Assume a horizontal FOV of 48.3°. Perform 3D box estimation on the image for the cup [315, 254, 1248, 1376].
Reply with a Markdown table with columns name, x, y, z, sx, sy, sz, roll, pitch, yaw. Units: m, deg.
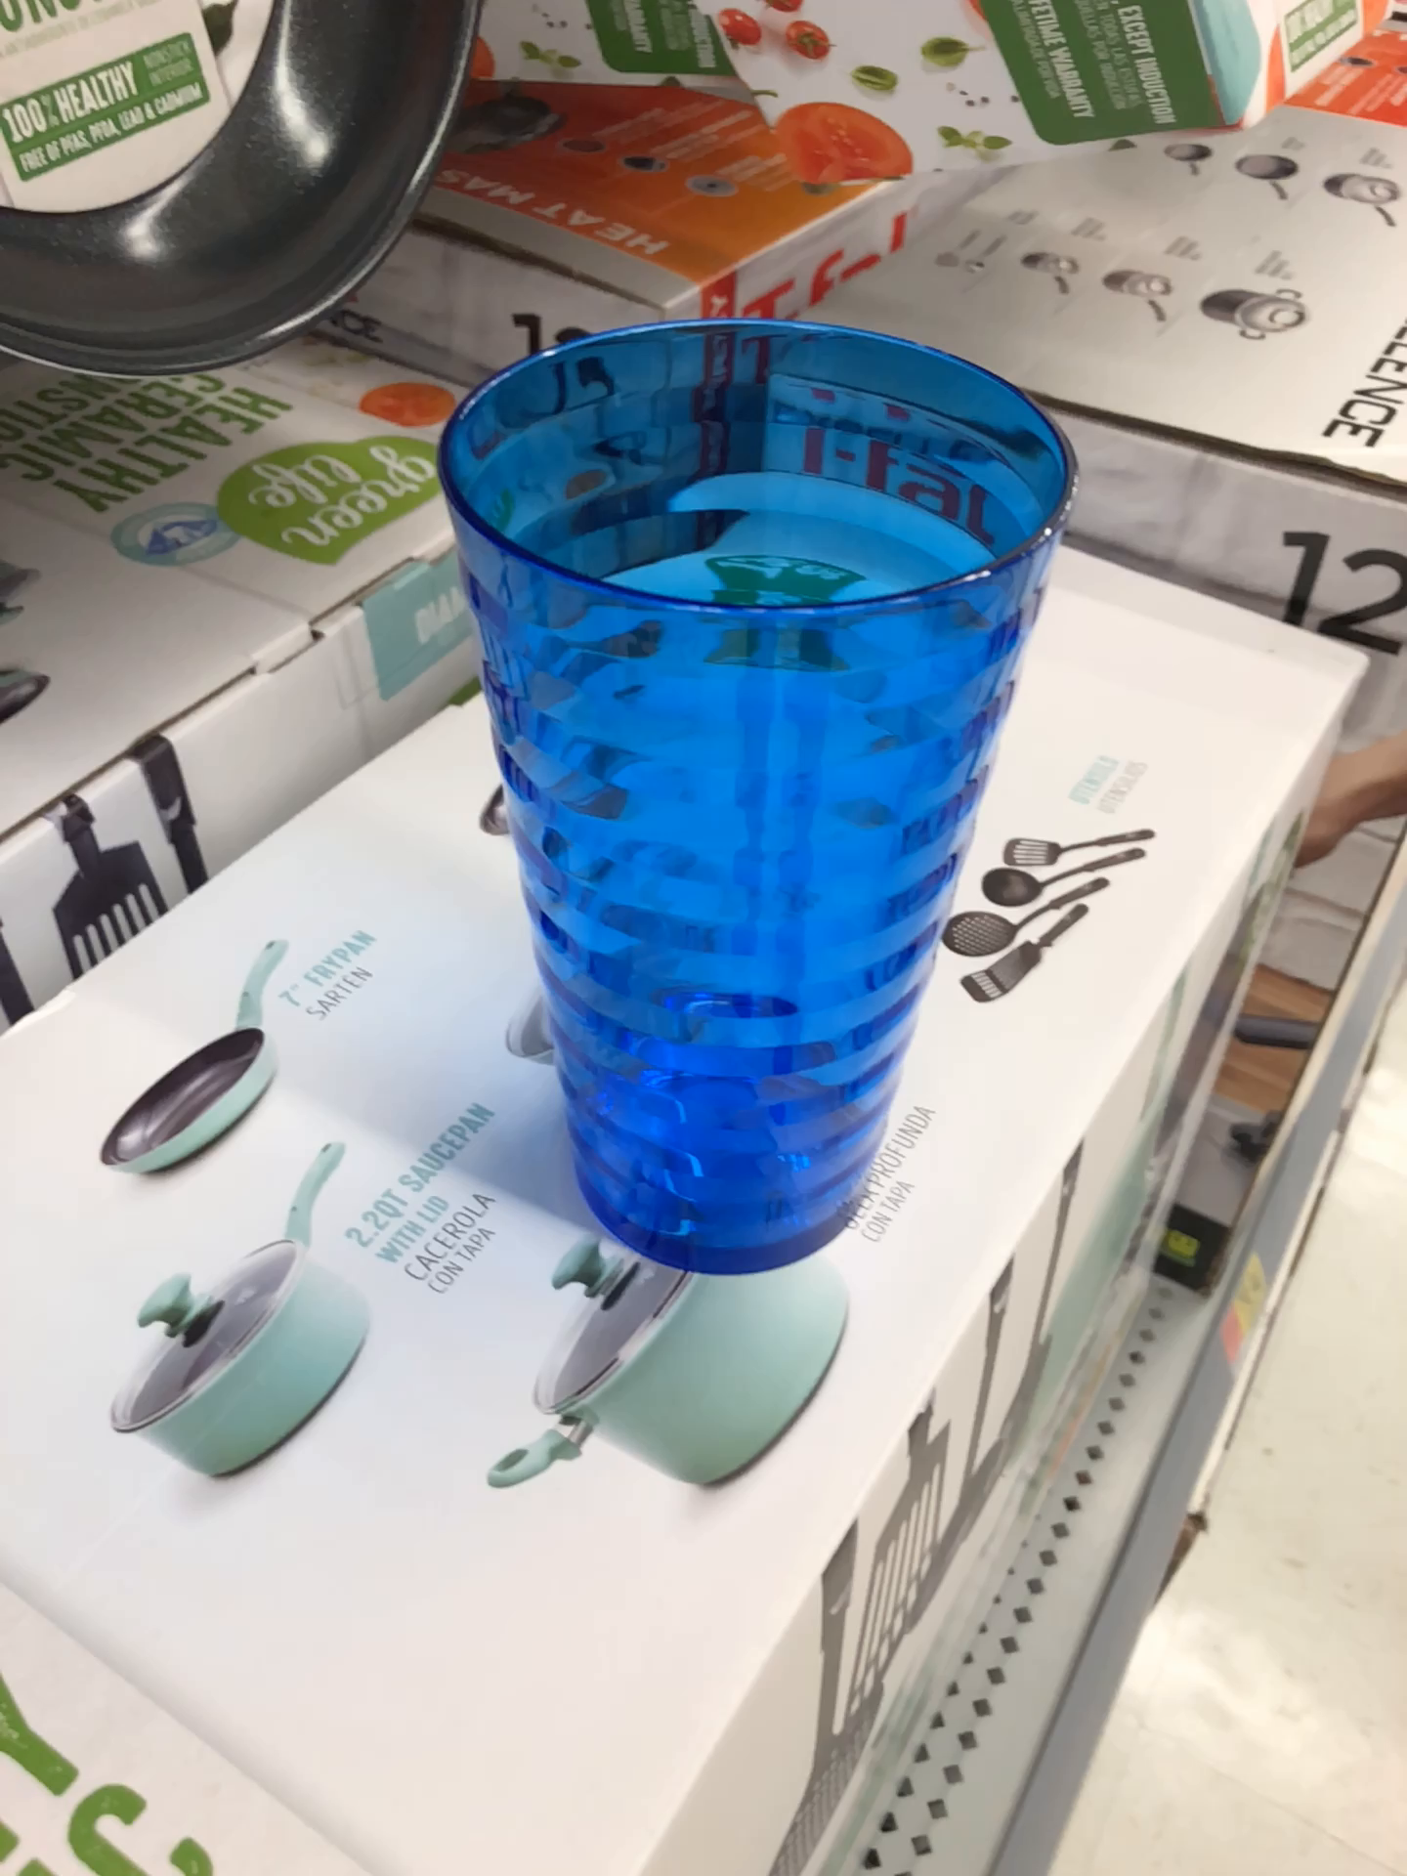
| name | x | y | z | sx | sy | sz | roll | pitch | yaw |
| --- | --- | --- | --- | --- | --- | --- | --- | --- | --- |
| cup | 0.008 | -0.020 | 0.258 | 0.092 | 0.134 | 0.087 | 2 | 43 | -2 |
